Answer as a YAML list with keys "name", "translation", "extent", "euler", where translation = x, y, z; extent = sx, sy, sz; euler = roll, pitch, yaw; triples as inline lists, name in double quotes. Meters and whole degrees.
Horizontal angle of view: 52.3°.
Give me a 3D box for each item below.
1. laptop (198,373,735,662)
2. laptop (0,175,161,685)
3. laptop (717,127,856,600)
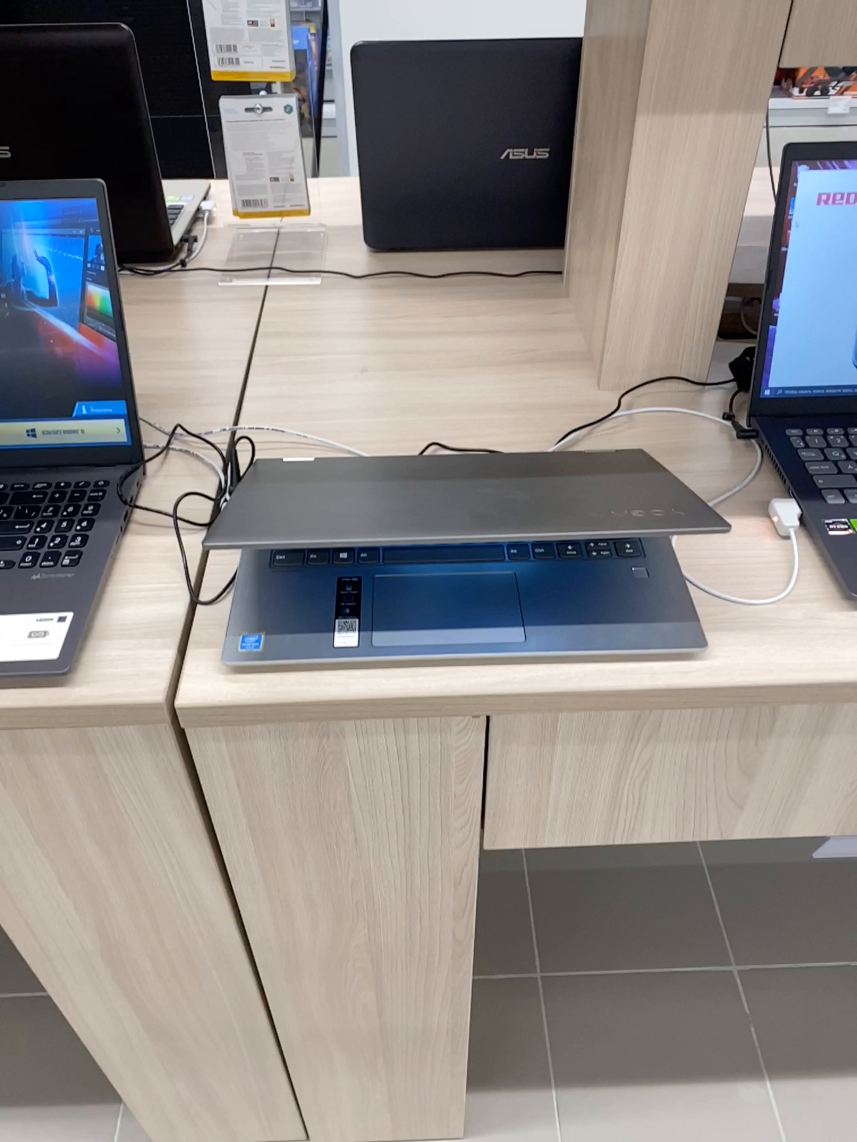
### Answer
- name: "laptop"
  translation: [0.022, -0.048, 0.637]
  extent: [0.325, 0.082, 0.219]
  euler: [-1, 42, 0]
- name: "laptop"
  translation: [-0.418, -0.113, 0.609]
  extent: [0.352, 0.212, 0.309]
  euler: [-1, 41, -1]
- name: "laptop"
  translation: [0.485, -0.172, 0.665]
  extent: [0.389, 0.215, 0.304]
  euler: [-3, 42, -3]
